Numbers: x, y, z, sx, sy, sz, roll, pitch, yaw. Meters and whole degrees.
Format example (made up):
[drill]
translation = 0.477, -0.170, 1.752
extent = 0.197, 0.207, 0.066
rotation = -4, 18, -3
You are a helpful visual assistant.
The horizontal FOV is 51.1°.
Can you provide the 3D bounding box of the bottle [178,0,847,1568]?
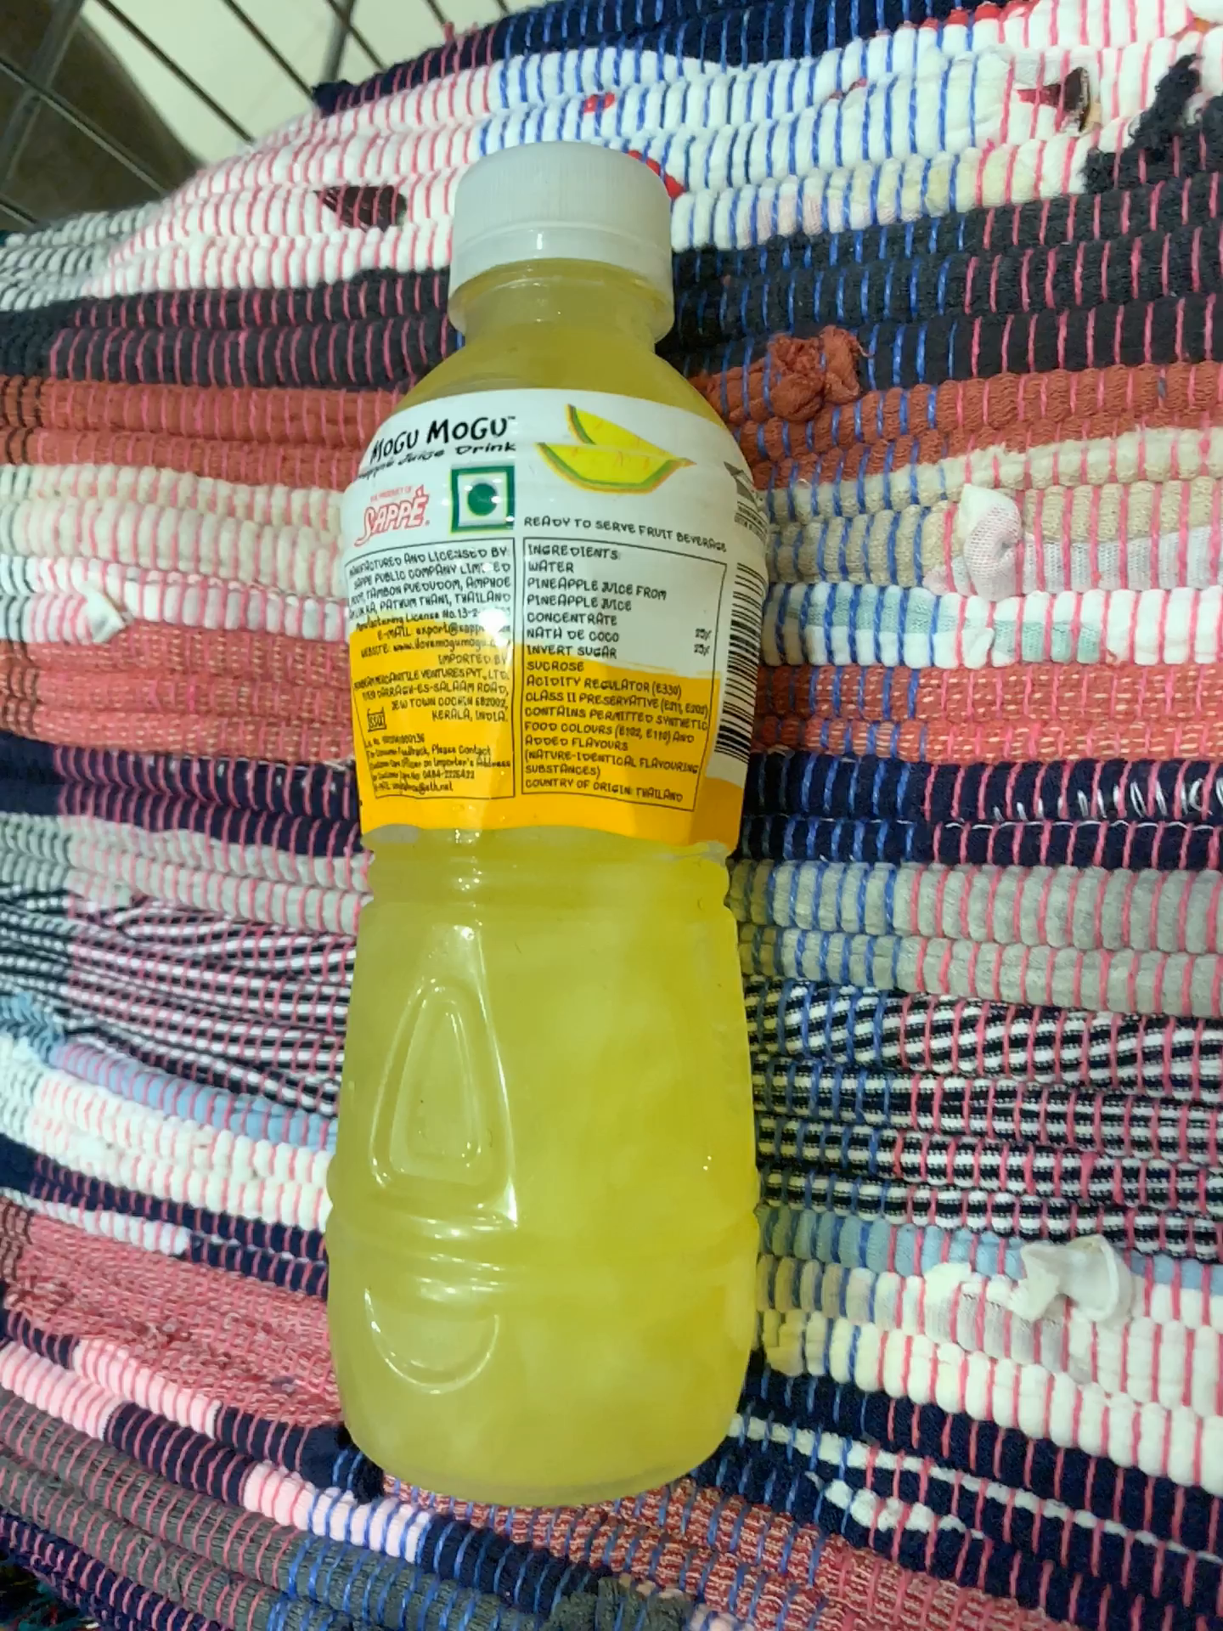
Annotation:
[bottle]
translation = -0.008, -0.016, 0.175
extent = 0.060, 0.050, 0.190
rotation = 0, 82, 27
